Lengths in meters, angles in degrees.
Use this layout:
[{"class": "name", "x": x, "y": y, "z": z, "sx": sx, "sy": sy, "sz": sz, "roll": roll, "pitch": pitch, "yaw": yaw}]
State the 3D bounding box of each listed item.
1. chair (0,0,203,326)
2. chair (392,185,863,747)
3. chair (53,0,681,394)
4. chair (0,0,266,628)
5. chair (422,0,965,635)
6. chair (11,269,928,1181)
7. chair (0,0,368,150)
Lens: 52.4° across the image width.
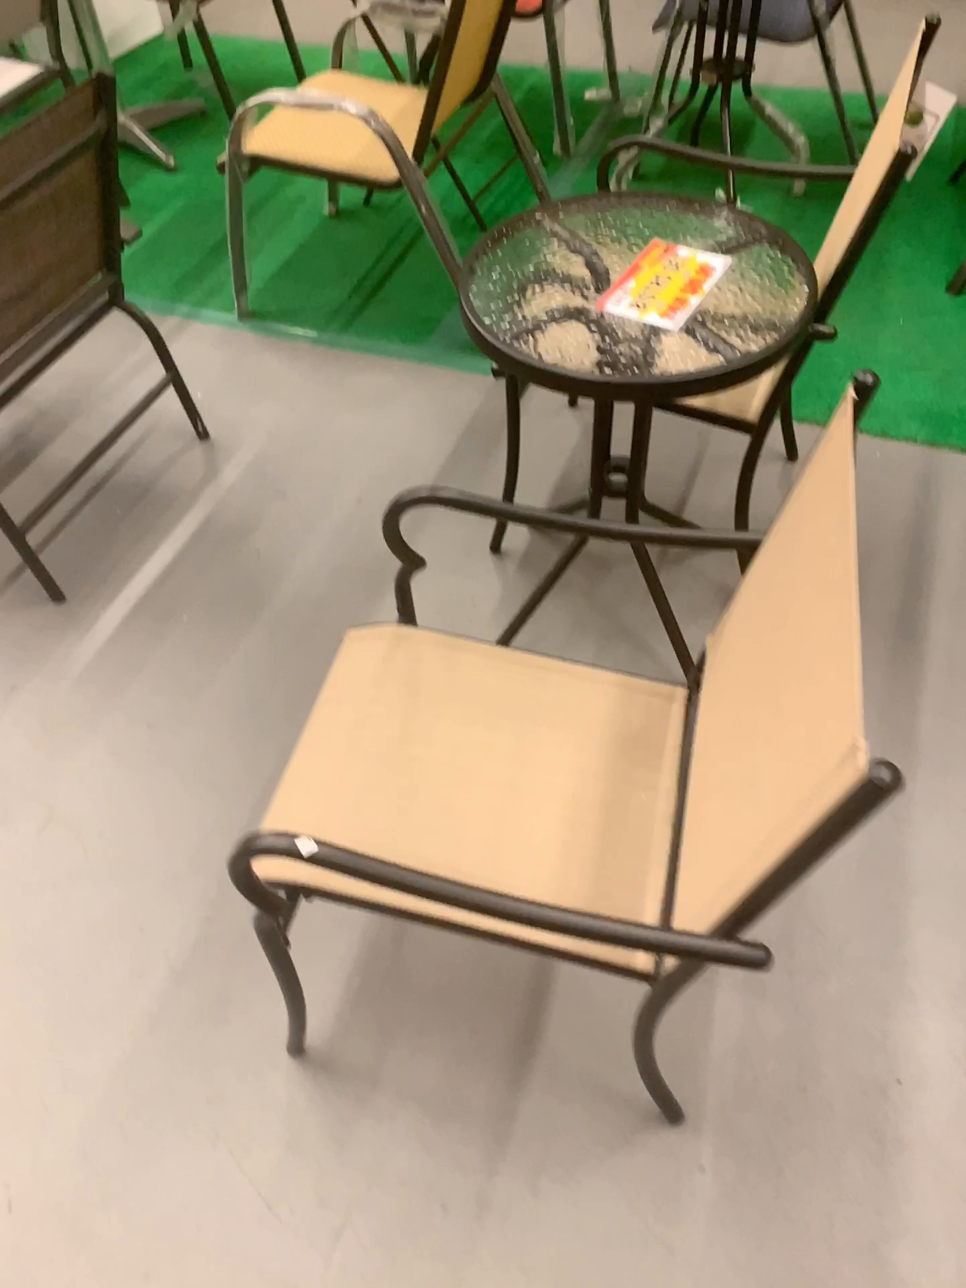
[{"class": "chair", "x": -1.441, "y": -1.528, "z": 2.678, "sx": 0.886, "sy": 0.923, "sz": 0.677, "roll": 14, "pitch": 52, "yaw": 15}, {"class": "chair", "x": 0.238, "y": -0.286, "z": 1.604, "sx": 0.546, "sy": 0.634, "sz": 0.526, "roll": 13, "pitch": 52, "yaw": 14}, {"class": "chair", "x": -0.176, "y": -1.329, "z": 2.345, "sx": 1.026, "sy": 0.982, "sz": 0.807, "roll": 14, "pitch": 52, "yaw": 15}, {"class": "chair", "x": -1.053, "y": -0.641, "z": 1.879, "sx": 0.886, "sy": 0.803, "sz": 0.677, "roll": 14, "pitch": 52, "yaw": 15}, {"class": "chair", "x": 0.361, "y": -0.614, "z": 1.721, "sx": 0.676, "sy": 0.923, "sz": 0.616, "roll": 13, "pitch": 52, "yaw": 14}, {"class": "chair", "x": 0.050, "y": 0.137, "z": 1.146, "sx": 0.615, "sy": 0.863, "sz": 0.576, "roll": 9, "pitch": 51, "yaw": 11}, {"class": "chair", "x": -0.985, "y": -2.285, "z": 3.267, "sx": 0.886, "sy": 0.873, "sz": 0.677, "roll": 14, "pitch": 52, "yaw": 15}]
